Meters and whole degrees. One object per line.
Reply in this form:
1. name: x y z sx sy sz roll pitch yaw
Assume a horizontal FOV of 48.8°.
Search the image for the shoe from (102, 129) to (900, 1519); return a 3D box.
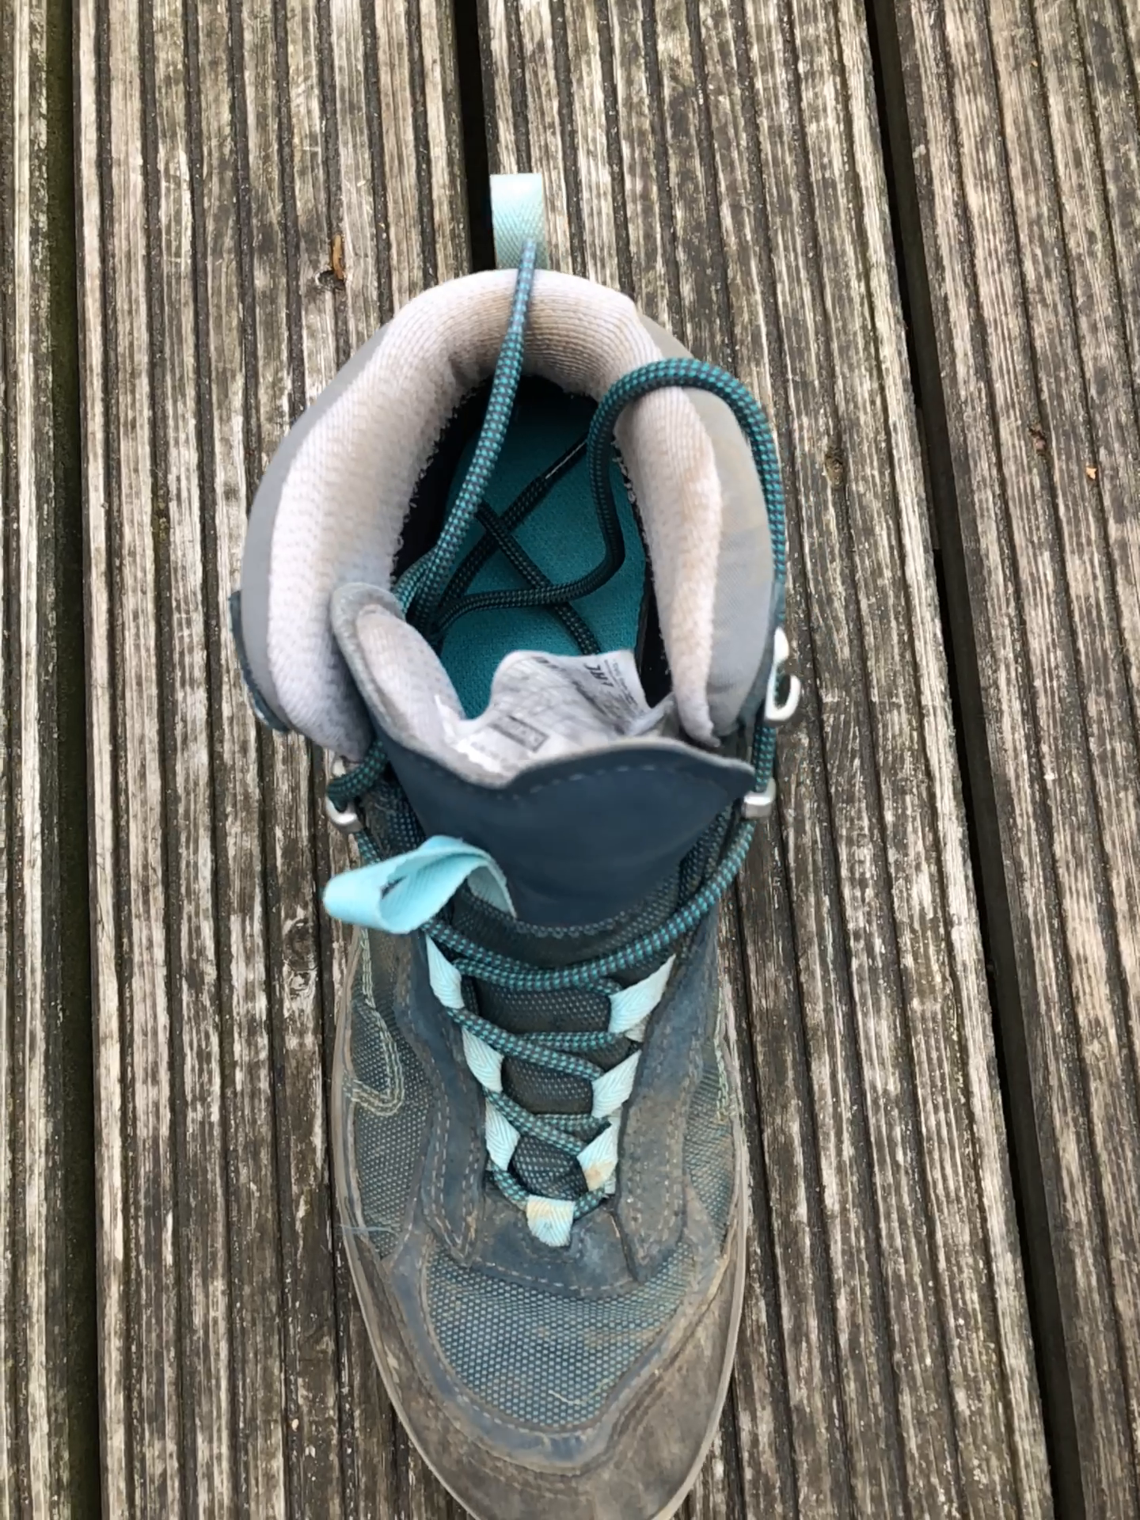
1. shoe: -0.014 0.036 0.268 0.120 0.120 0.280 -3 82 2
